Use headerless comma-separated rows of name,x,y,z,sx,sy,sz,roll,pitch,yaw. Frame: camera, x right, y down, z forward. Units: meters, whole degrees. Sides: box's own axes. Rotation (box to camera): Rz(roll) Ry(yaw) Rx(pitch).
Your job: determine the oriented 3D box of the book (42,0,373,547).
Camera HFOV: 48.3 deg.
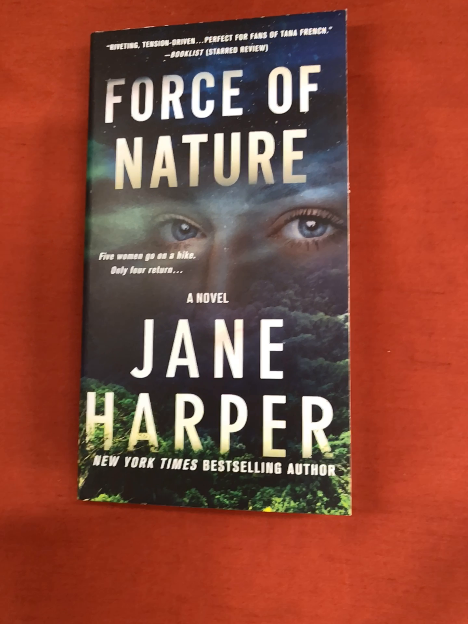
book,-0.007,-0.012,0.202,0.110,0.050,0.180,-1,92,8
